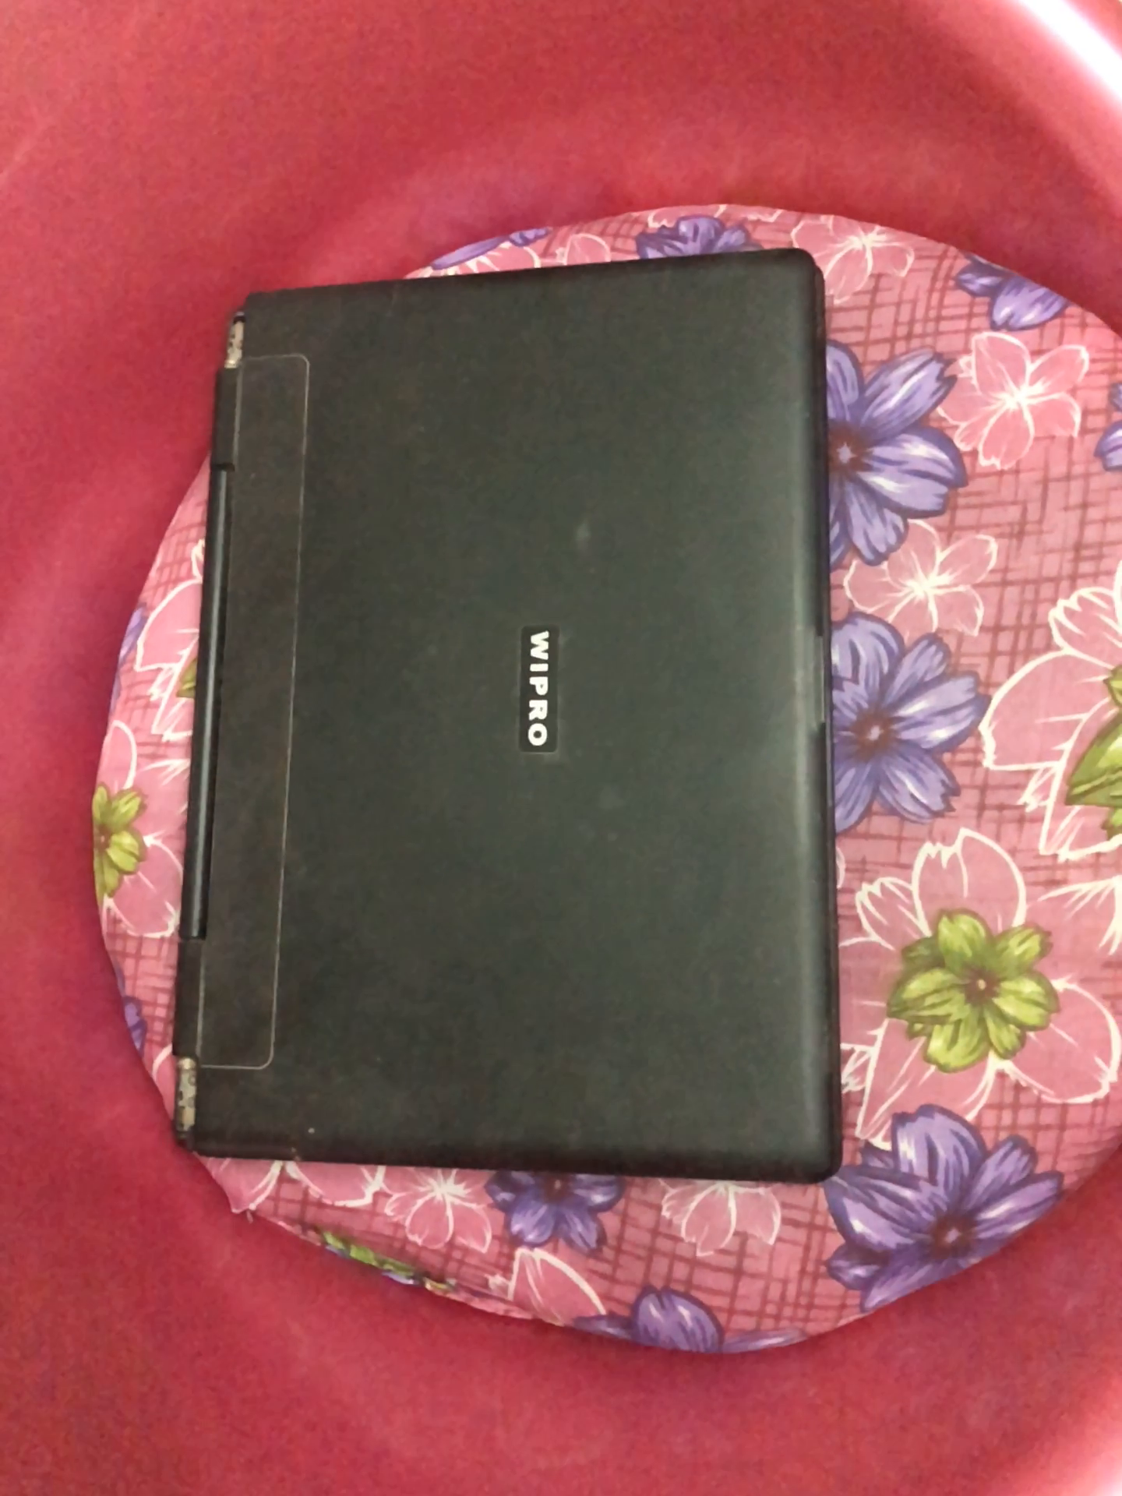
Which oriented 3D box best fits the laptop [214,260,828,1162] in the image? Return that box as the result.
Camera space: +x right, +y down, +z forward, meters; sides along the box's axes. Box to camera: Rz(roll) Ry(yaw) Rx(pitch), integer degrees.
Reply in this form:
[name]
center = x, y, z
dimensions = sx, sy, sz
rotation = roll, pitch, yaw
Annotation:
[laptop]
center = -0.015, -0.021, 0.459
dimensions = 0.220, 0.006, 0.322
rotation = -1, 81, 12
